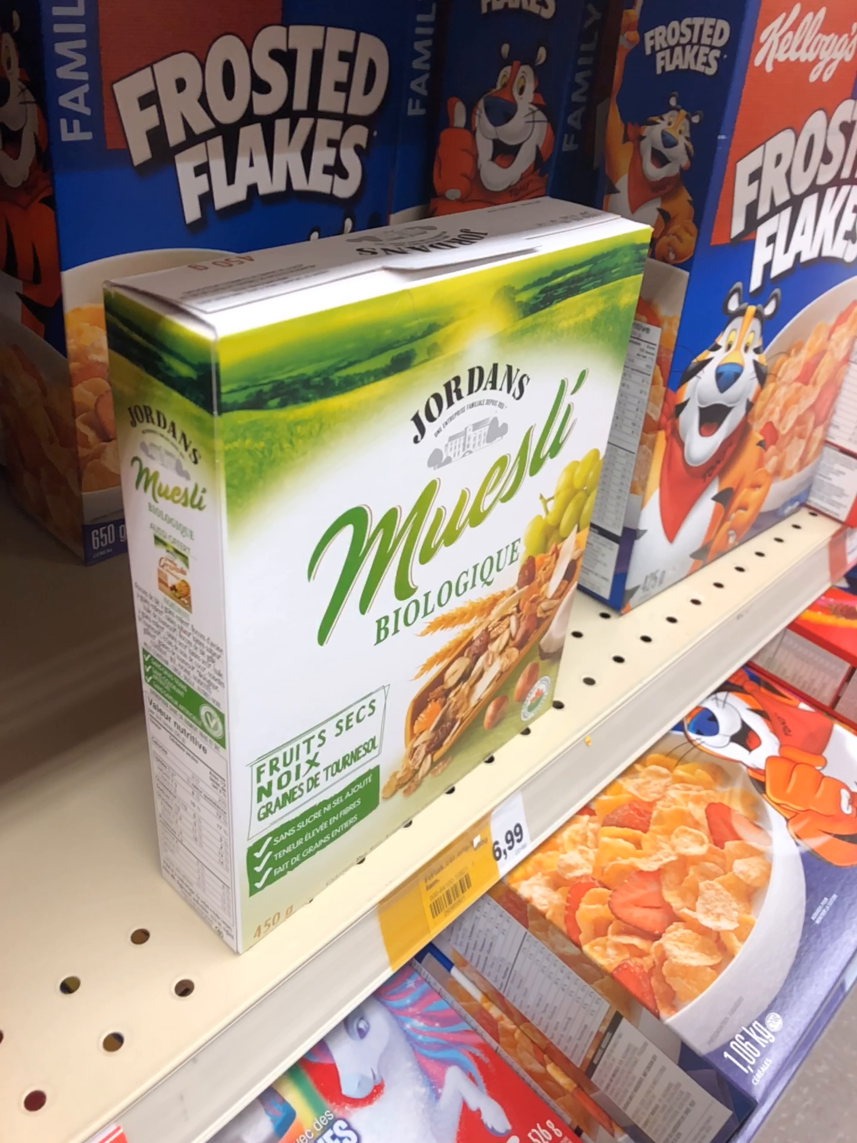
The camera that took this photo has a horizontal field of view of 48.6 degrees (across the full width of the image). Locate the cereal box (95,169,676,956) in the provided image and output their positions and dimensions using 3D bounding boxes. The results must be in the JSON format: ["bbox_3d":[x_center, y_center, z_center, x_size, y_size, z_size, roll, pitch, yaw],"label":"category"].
[{"bbox_3d":[-0.009,-0.008,0.324,0.050,0.218,0.181,30,40,31],"label":"cereal box"}]
